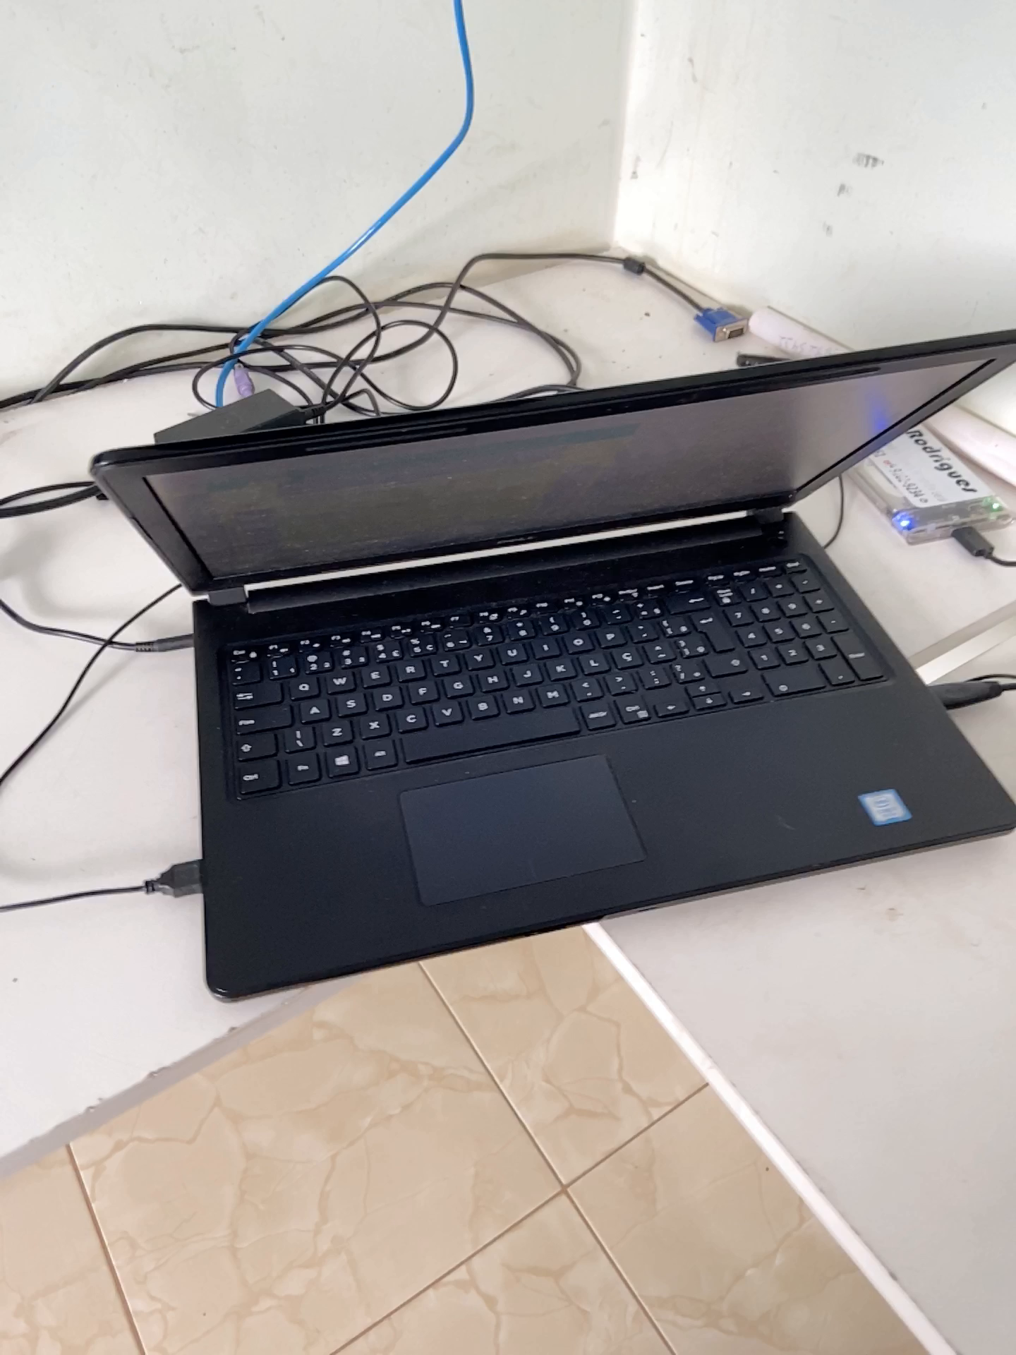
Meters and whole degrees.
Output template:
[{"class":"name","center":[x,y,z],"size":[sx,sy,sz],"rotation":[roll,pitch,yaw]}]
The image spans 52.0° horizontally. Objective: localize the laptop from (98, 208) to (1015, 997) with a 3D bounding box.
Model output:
[{"class":"laptop","center":[0.033,-0.058,0.483],"size":[0.372,0.192,0.256],"rotation":[-9,45,-12]}]
